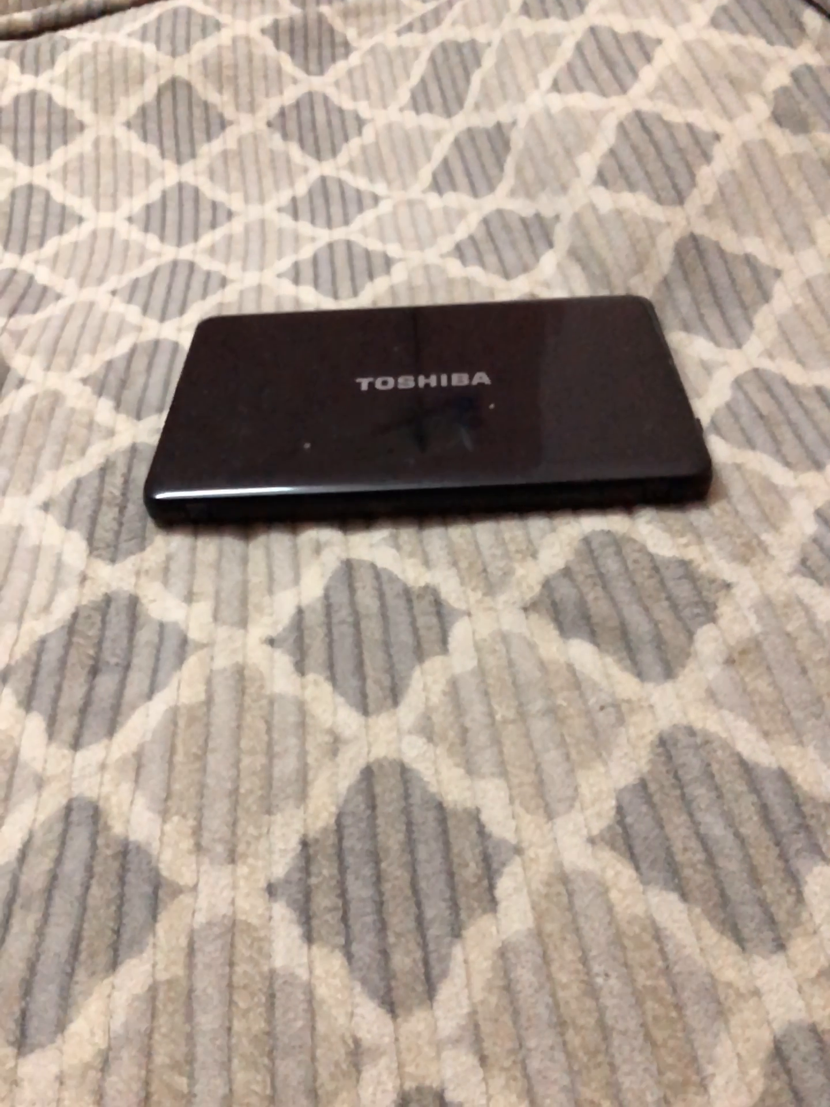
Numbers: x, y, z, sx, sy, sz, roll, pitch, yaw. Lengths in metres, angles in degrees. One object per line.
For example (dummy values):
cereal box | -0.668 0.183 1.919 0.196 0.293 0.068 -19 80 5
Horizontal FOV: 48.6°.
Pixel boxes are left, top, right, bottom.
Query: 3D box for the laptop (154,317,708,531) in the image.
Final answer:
laptop | 0.007 -0.111 0.725 0.375 0.023 0.250 -2 40 2
